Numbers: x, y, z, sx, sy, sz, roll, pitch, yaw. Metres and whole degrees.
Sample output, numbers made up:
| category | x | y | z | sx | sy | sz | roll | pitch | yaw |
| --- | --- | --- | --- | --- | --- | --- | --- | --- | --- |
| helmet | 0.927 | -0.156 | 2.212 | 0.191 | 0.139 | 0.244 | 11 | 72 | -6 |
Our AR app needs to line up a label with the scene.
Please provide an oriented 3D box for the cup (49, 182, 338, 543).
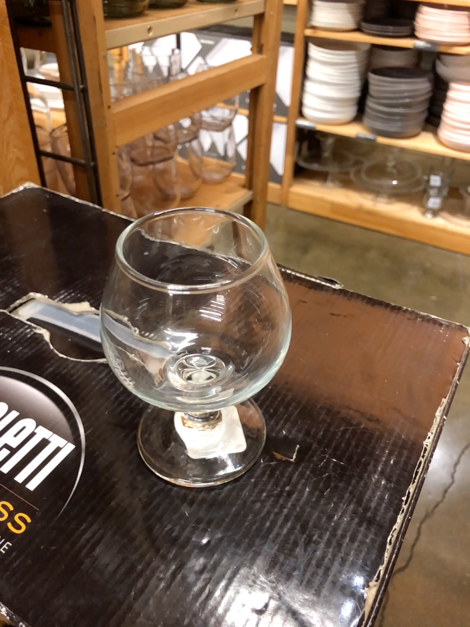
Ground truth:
| category | x | y | z | sx | sy | sz | roll | pitch | yaw |
| --- | --- | --- | --- | --- | --- | --- | --- | --- | --- |
| cup | -0.015 | 0.017 | 0.212 | 0.072 | 0.106 | 0.069 | 2 | 36 | -1 |
